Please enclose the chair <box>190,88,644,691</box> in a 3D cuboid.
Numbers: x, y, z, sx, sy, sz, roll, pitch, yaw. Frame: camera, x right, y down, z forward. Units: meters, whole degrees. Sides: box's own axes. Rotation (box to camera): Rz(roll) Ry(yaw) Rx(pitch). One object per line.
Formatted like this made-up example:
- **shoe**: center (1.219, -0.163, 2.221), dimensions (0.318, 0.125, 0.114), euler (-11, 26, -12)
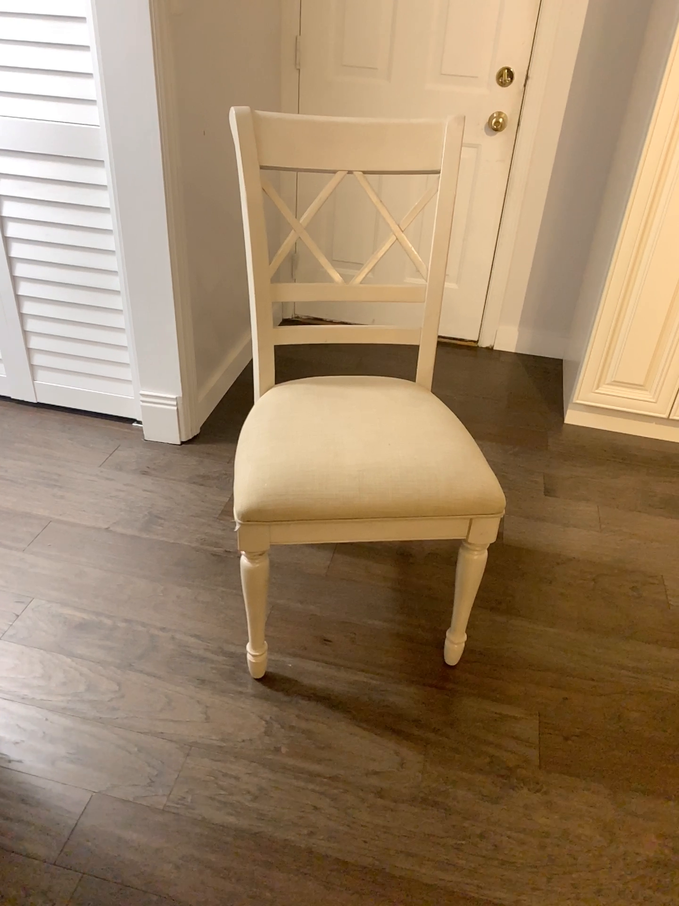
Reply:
- **chair**: center (0.045, -0.123, 1.385), dimensions (0.580, 0.994, 0.614), euler (-1, 33, -8)
